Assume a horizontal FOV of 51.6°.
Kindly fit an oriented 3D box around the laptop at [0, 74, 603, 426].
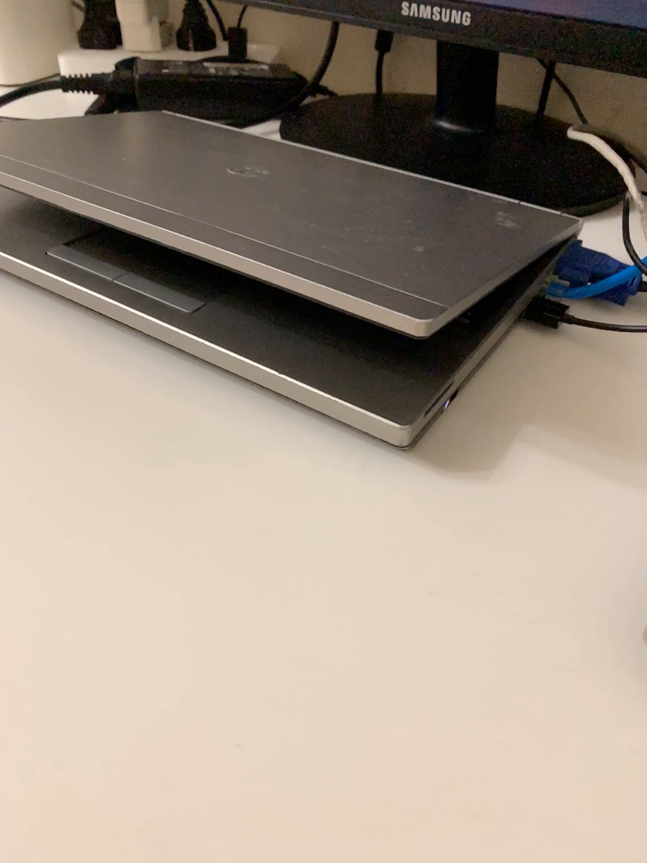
[{"bbox_3d":[-0.036,-0.121,0.341,0.293,0.029,0.184,25,48,25],"label":"laptop"}]
